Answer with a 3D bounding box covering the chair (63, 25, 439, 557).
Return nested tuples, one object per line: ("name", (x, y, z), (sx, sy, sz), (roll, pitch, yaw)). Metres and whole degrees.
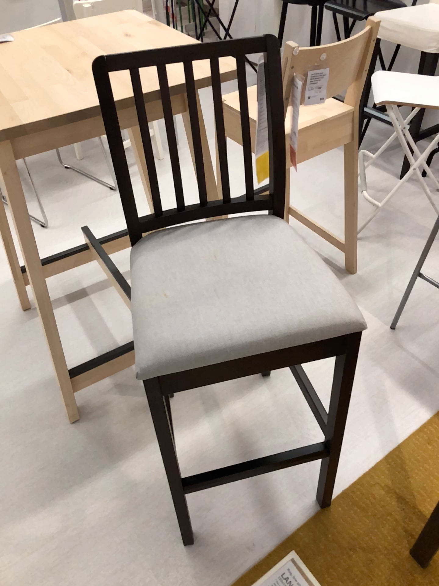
("chair", (0.021, 0.069, 1.146), (0.480, 1.093, 0.563), (-12, 43, -8))
